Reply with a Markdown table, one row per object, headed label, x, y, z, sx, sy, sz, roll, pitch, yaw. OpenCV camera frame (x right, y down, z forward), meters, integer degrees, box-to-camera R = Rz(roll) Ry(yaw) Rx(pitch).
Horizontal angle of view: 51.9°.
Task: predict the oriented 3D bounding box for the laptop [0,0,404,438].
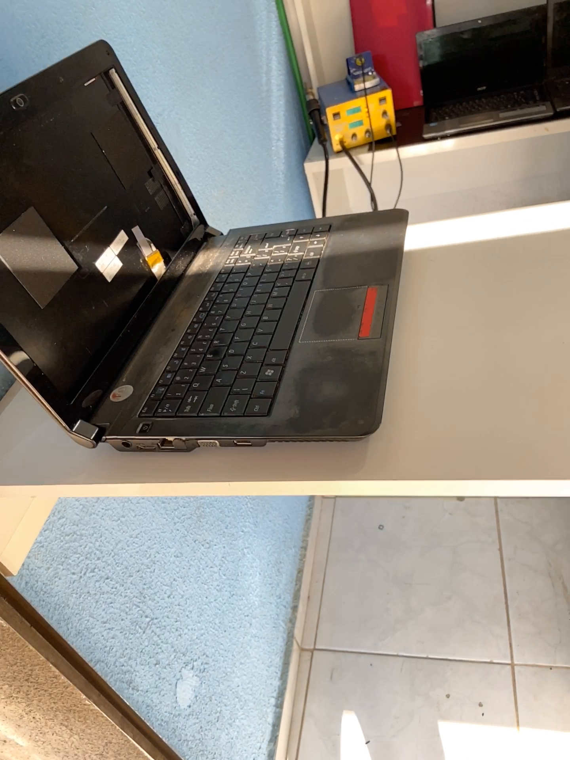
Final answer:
| label | x | y | z | sx | sy | sz | roll | pitch | yaw |
| --- | --- | --- | --- | --- | --- | --- | --- | --- | --- |
| laptop | -0.066 | -0.149 | 0.493 | 0.276 | 0.216 | 0.336 | -3 | 39 | 18 |
